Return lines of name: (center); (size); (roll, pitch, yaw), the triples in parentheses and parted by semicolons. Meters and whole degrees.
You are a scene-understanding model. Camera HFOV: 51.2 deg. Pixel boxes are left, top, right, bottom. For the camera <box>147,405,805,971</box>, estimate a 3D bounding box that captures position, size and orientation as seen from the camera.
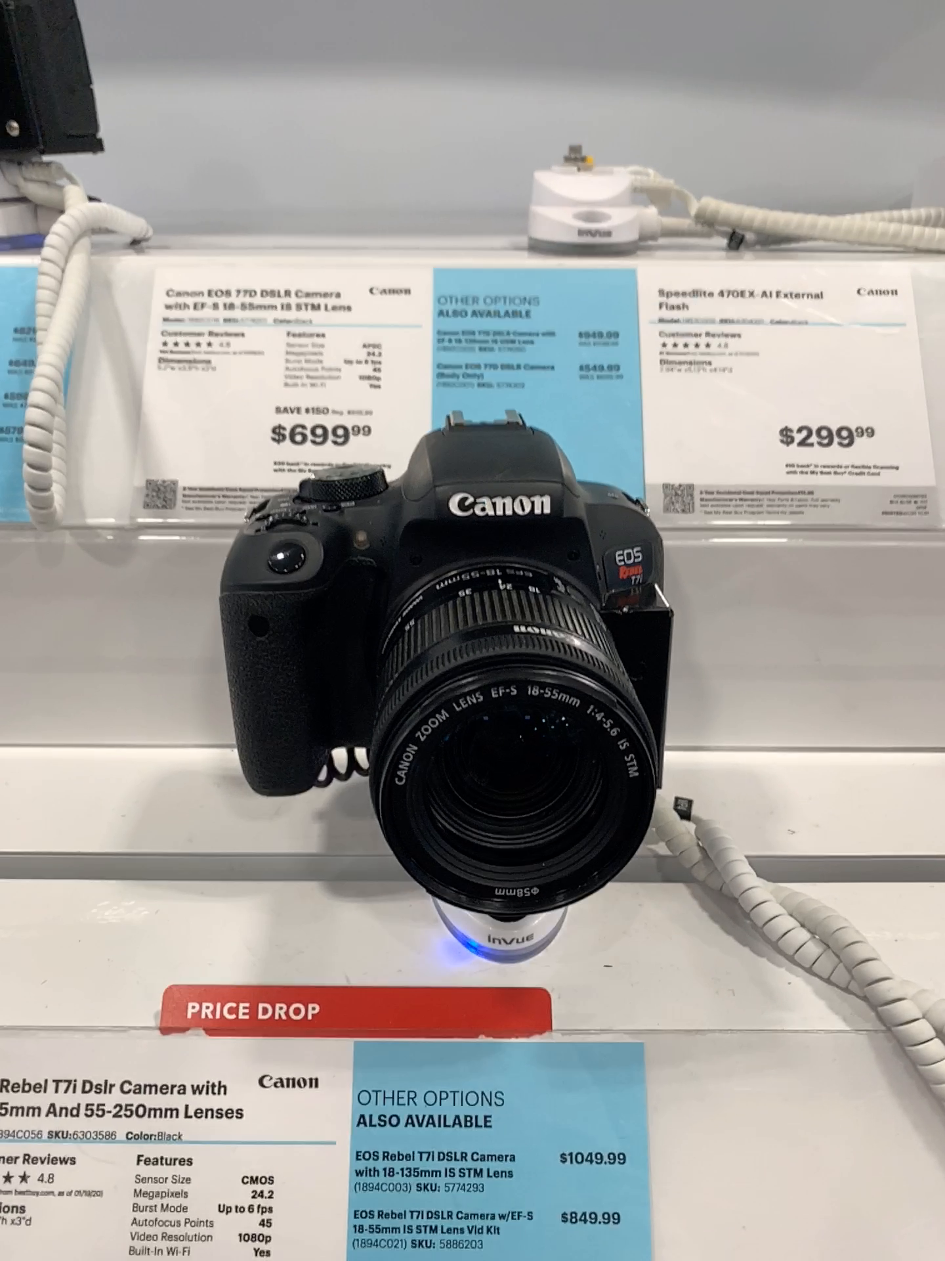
camera: (-0.002, 0.003, 0.277); (0.130, 0.100, 0.139); (-3, 24, -3)
